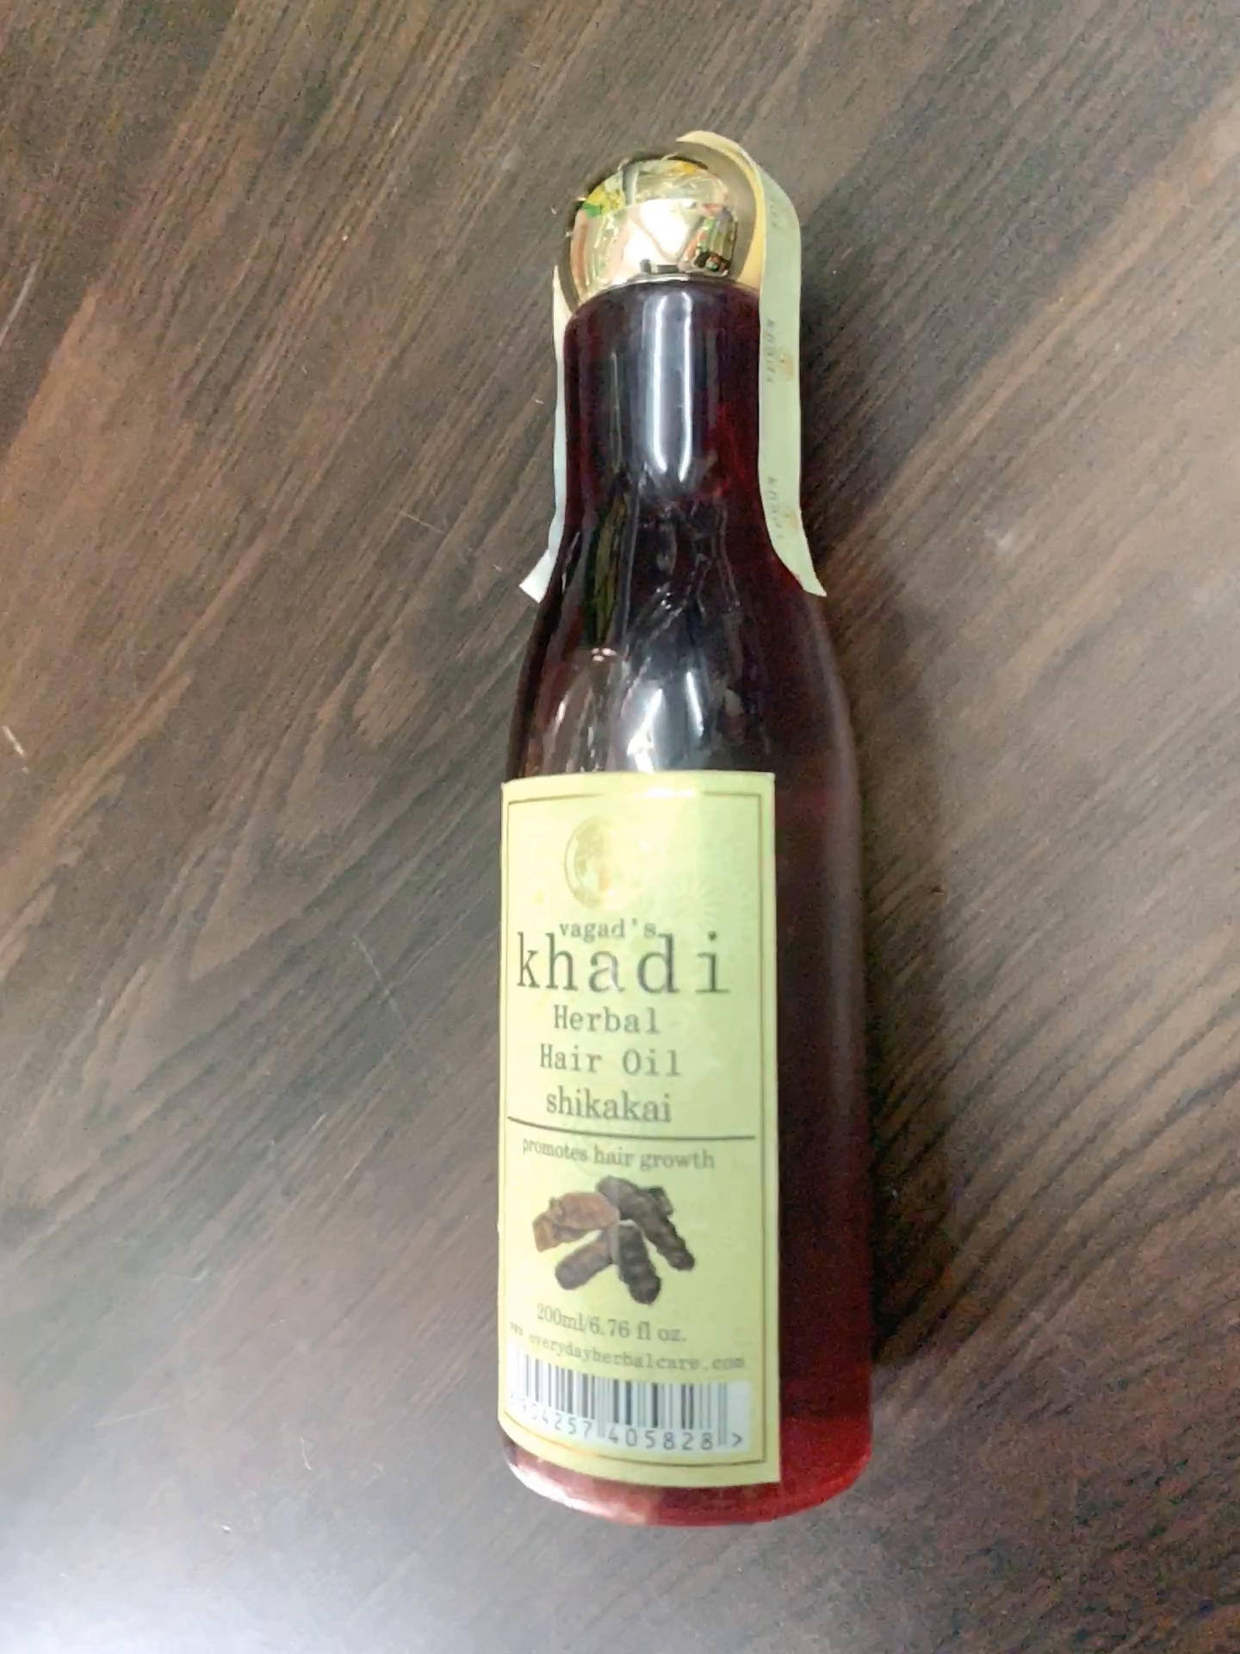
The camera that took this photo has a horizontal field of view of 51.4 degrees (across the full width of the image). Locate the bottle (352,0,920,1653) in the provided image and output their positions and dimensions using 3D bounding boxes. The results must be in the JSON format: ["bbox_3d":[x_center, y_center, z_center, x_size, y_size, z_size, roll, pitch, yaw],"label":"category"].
[{"bbox_3d":[0.005,-0.001,0.162,0.050,0.050,0.170,-2,85,31],"label":"bottle"}]
